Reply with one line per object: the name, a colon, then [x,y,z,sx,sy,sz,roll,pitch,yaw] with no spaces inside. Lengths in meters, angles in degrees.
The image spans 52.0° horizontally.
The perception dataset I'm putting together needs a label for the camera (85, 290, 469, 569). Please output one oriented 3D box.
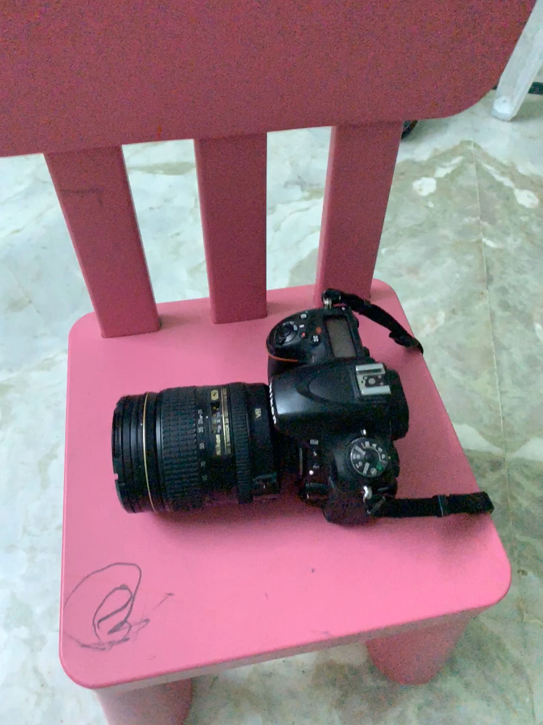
camera: [-0.004,0.041,0.372,0.210,0.080,0.140,-6,58,-6]
